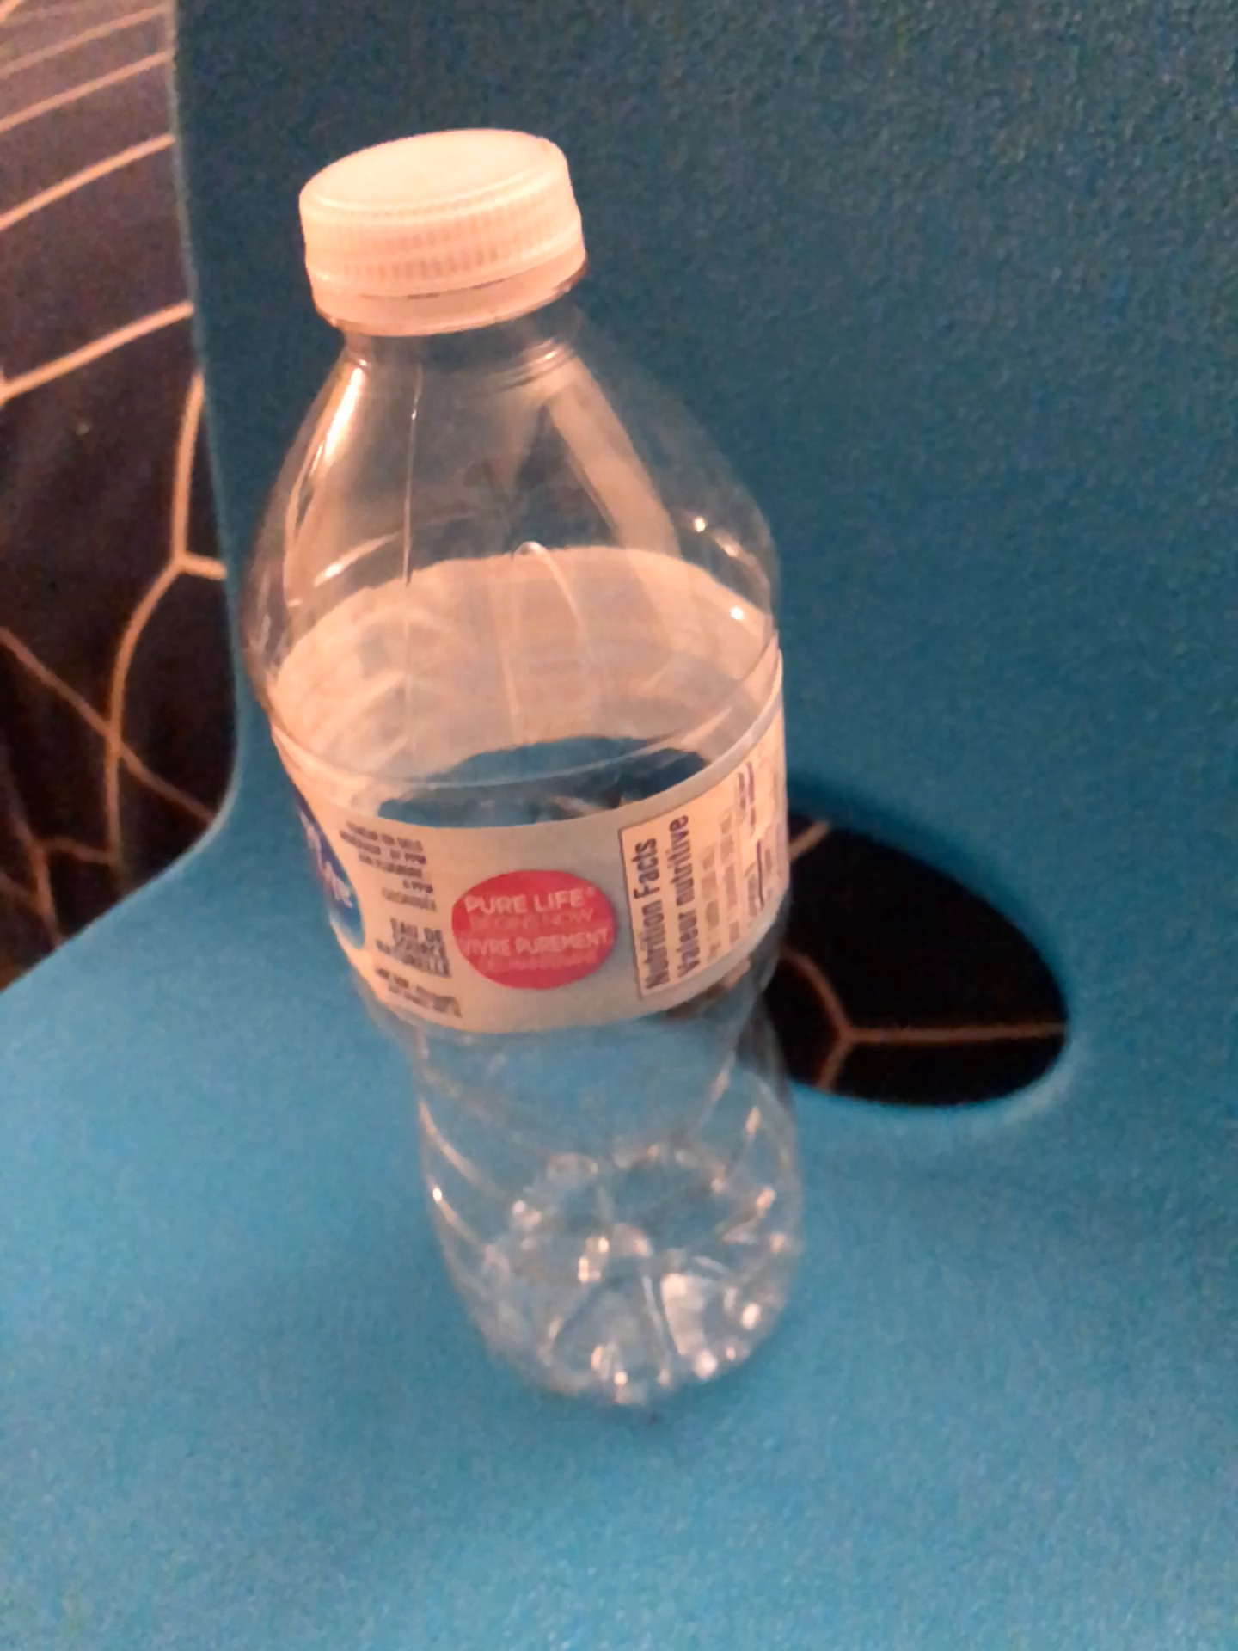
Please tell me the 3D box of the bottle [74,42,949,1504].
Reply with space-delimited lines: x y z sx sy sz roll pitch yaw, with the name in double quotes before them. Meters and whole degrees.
"bottle" -0.011 0.003 0.200 0.070 0.189 0.070 -3 37 2
